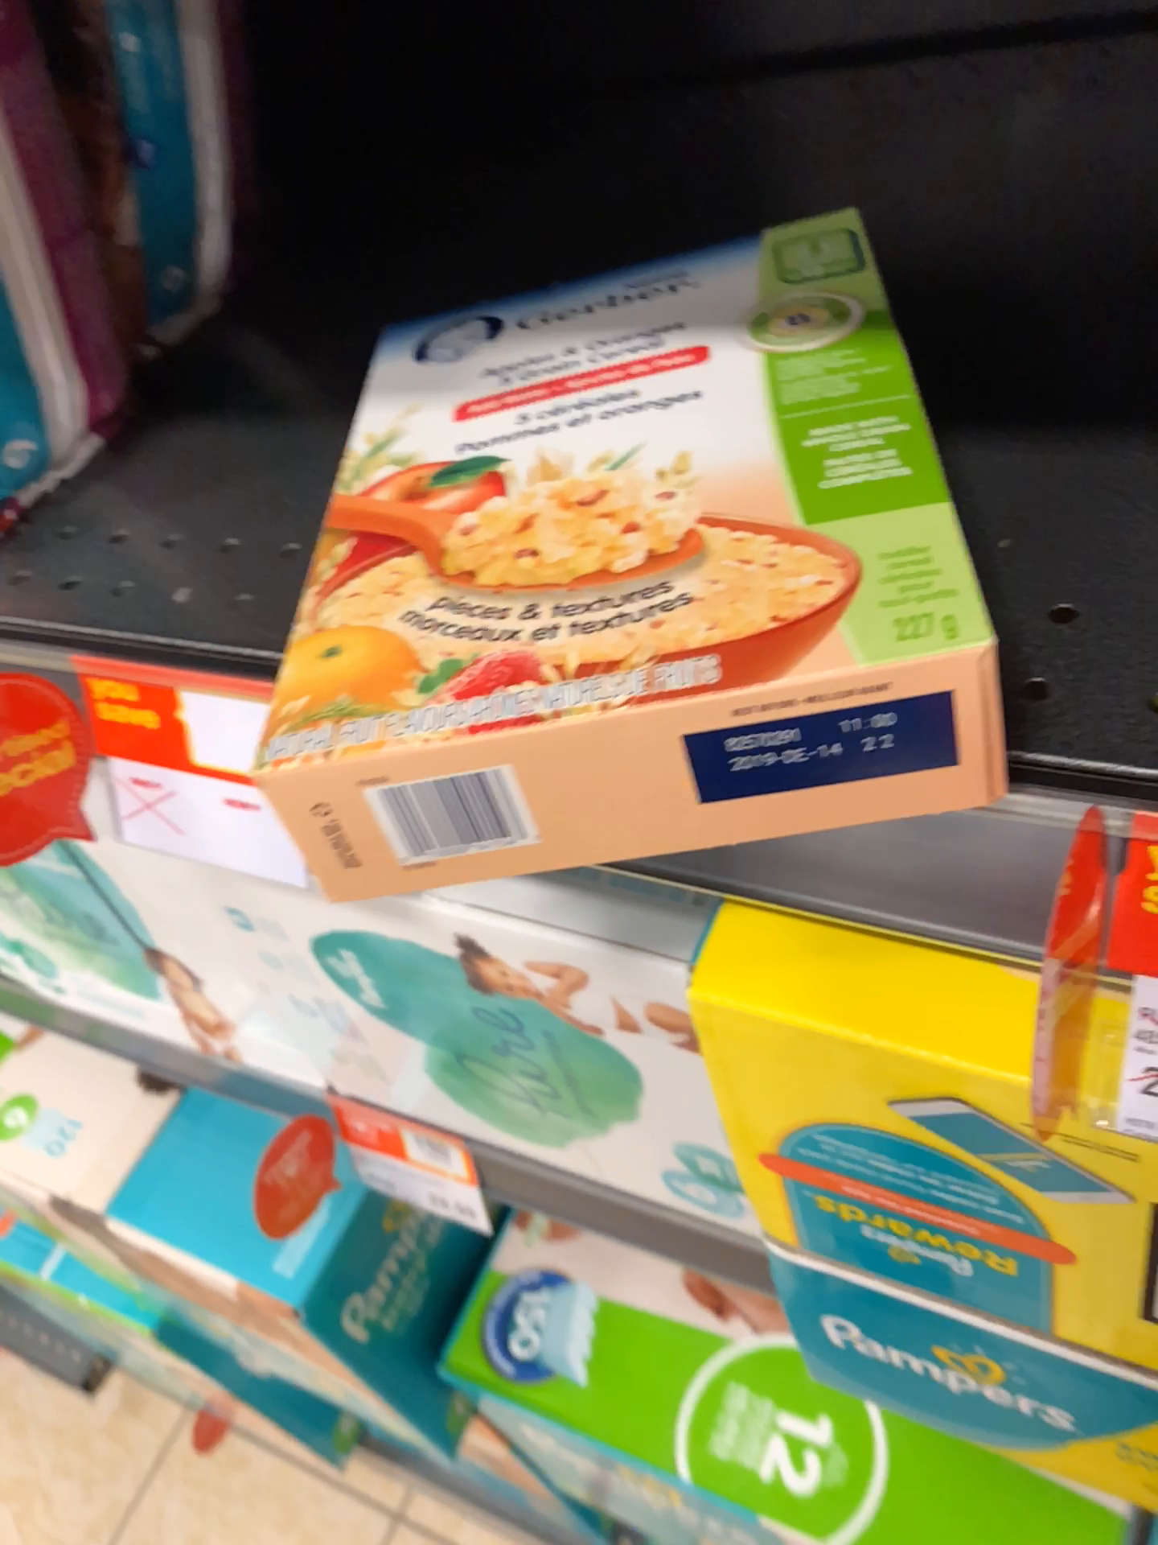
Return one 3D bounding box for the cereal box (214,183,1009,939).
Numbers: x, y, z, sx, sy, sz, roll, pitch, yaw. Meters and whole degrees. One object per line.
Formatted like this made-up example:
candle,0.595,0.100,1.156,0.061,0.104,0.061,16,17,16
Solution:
cereal box,0.010,-0.066,0.332,0.150,0.050,0.211,-9,44,12
